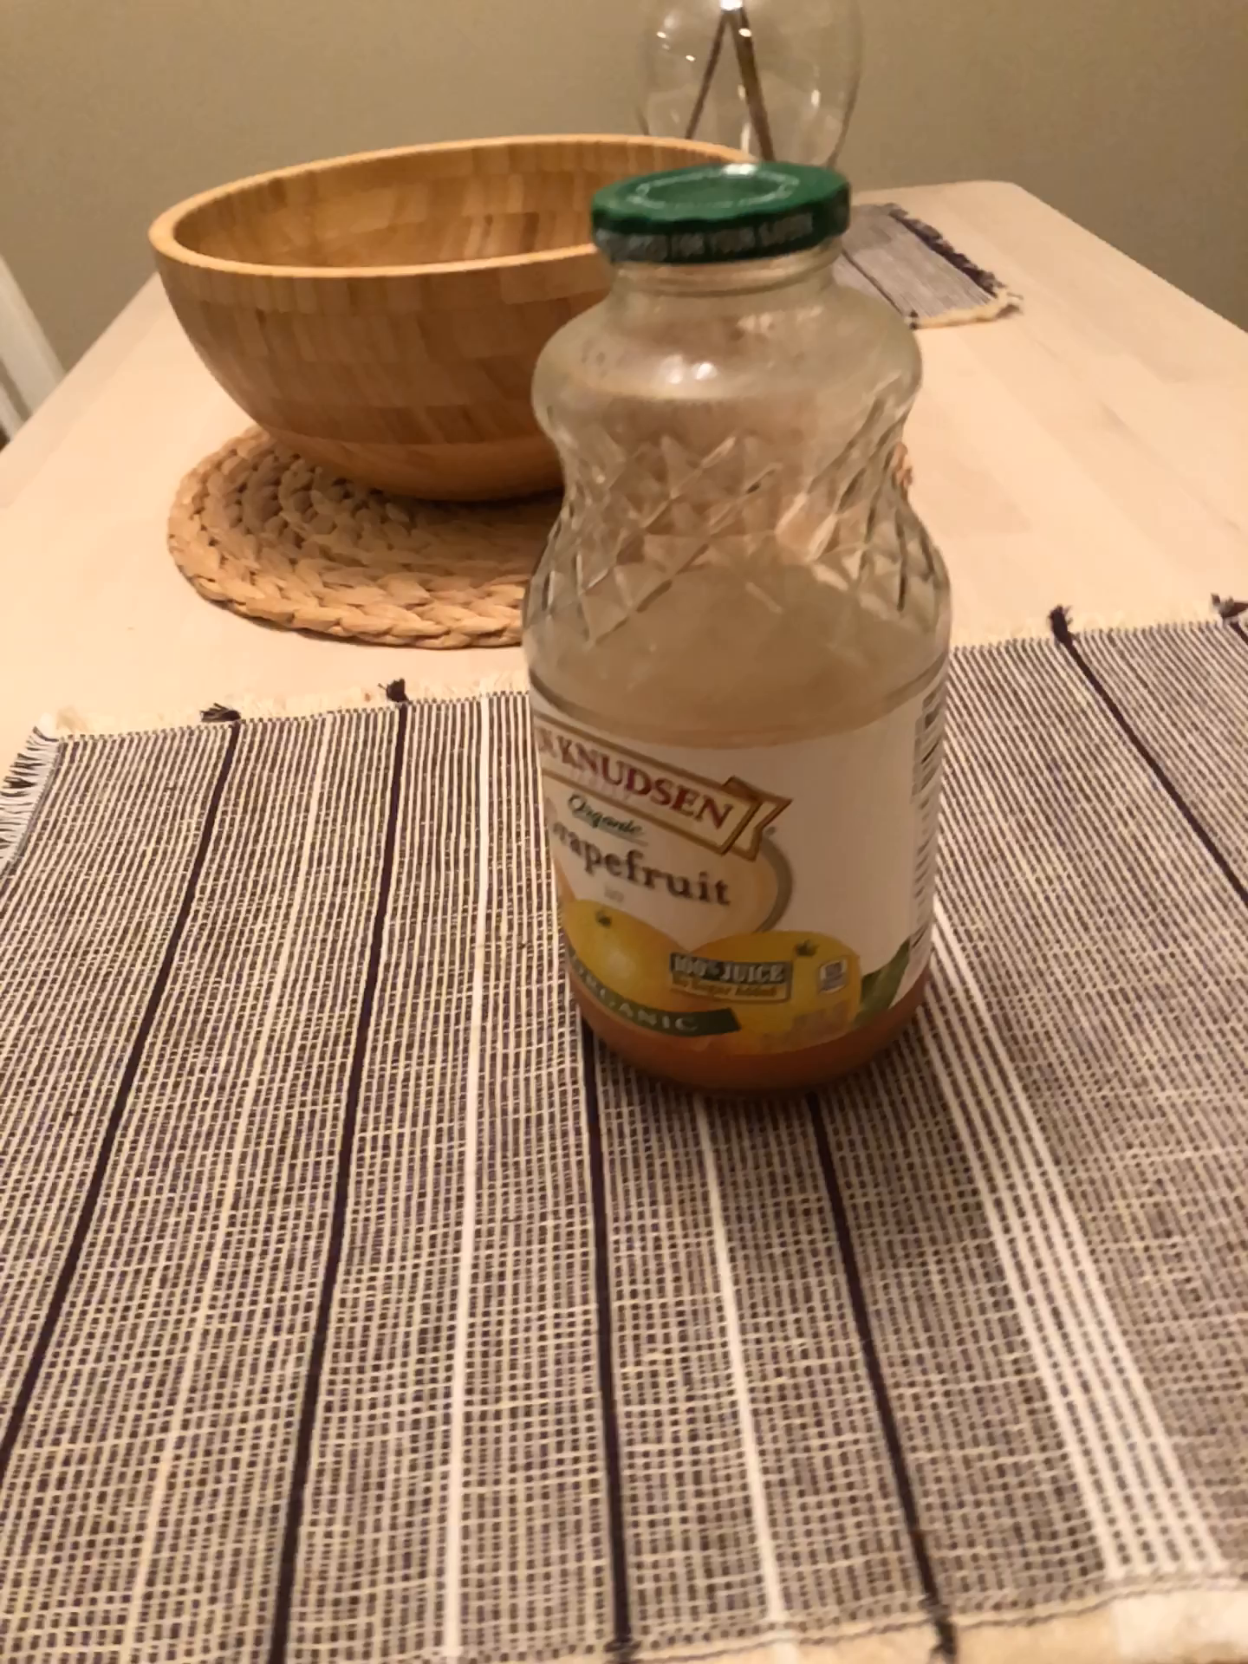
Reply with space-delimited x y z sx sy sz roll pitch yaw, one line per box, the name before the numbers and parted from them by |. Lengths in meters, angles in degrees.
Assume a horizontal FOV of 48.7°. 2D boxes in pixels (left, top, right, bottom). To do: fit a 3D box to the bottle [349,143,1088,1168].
bottle | 0.025 -0.042 0.315 0.100 0.189 0.100 -3 34 2
